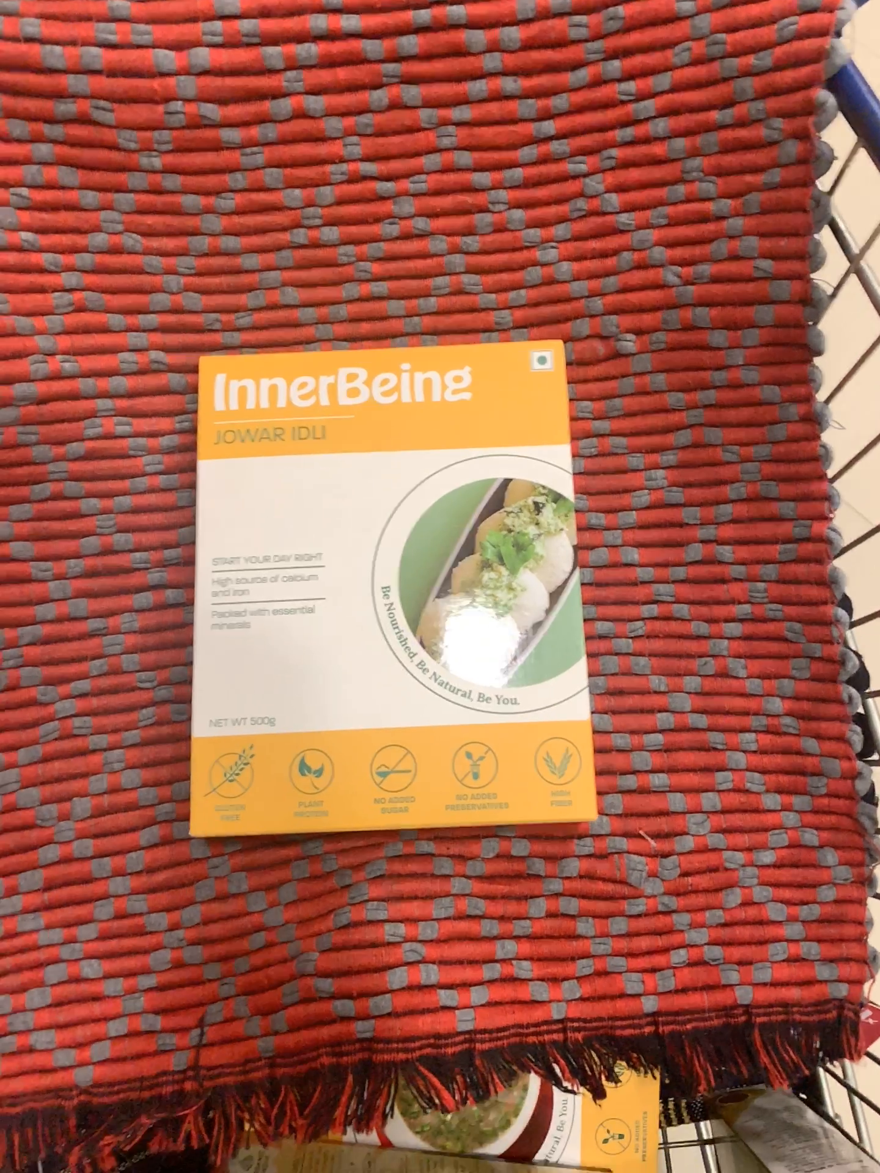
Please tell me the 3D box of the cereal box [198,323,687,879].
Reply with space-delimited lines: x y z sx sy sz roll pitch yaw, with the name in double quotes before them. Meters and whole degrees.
"cereal box" -0.003 0.007 0.339 0.150 0.070 0.190 -3 72 0
